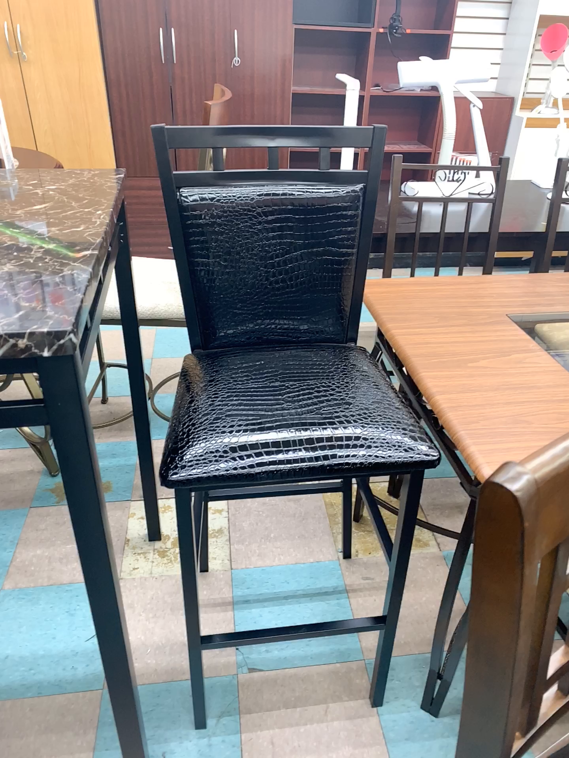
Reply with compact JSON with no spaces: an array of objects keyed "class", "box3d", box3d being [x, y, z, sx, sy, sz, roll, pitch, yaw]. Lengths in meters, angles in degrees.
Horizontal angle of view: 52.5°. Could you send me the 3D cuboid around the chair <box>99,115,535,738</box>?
[{"class":"chair","box3d":[0.009,0.120,1.022,0.444,1.025,0.419,-3,31,-6]}]
